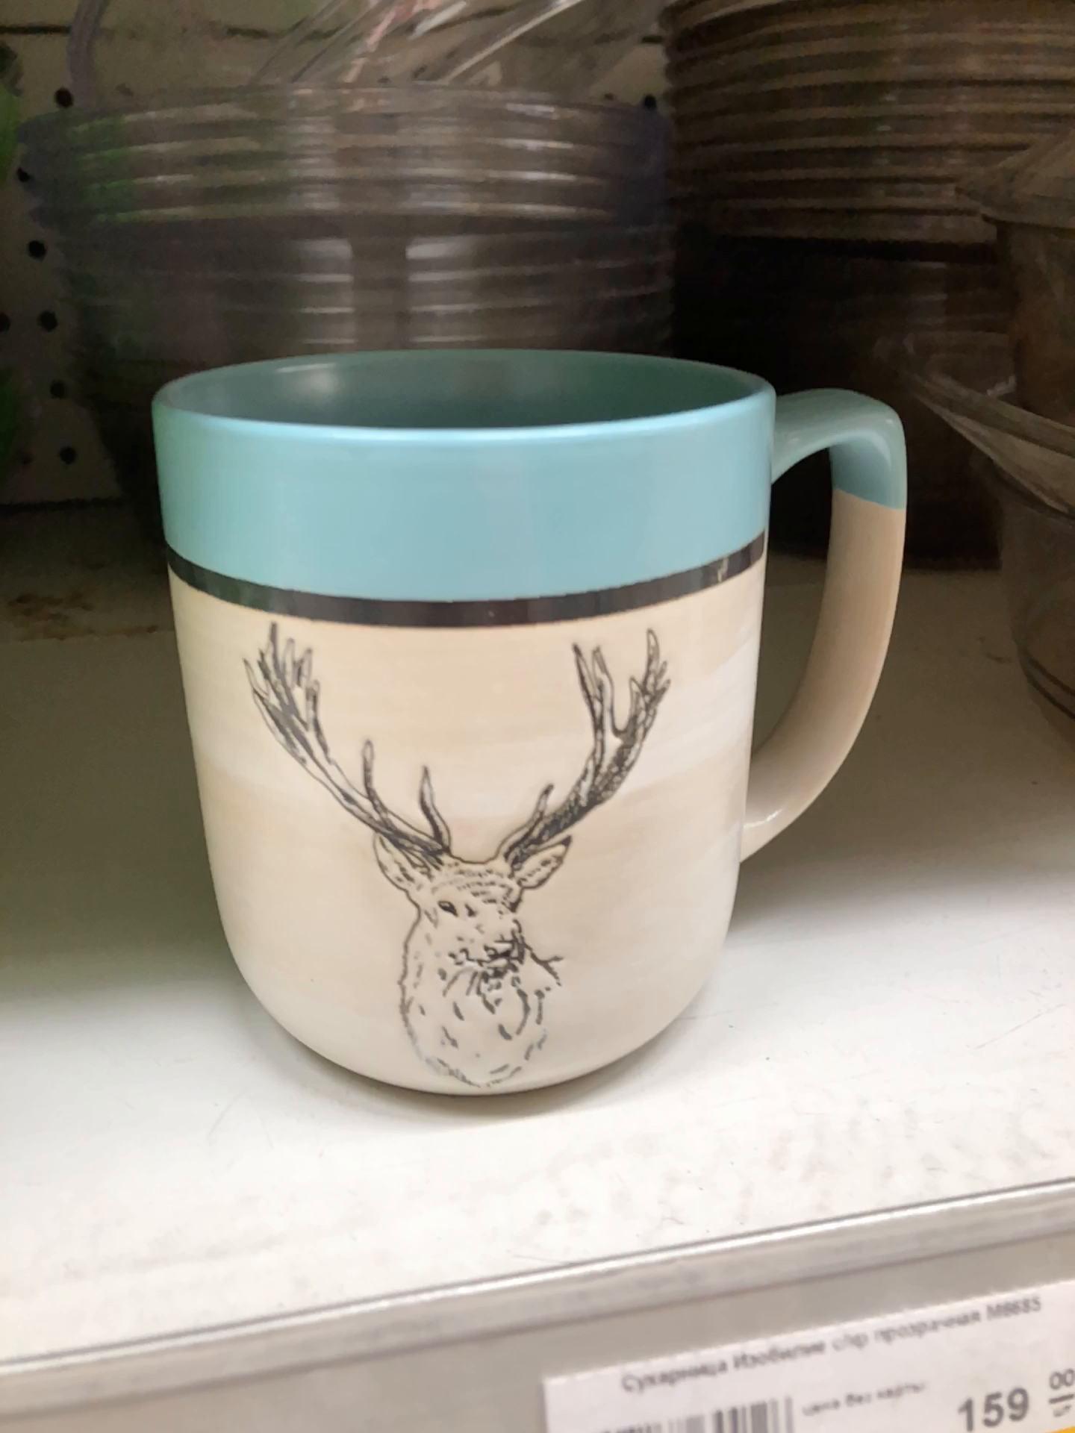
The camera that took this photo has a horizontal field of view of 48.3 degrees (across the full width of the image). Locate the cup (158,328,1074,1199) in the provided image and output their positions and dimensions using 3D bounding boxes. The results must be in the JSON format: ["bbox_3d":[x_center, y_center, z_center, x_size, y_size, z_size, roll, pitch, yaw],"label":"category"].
[{"bbox_3d":[0.009,-0.007,0.205,0.123,0.102,0.094,-9,24,-19],"label":"cup"}]
